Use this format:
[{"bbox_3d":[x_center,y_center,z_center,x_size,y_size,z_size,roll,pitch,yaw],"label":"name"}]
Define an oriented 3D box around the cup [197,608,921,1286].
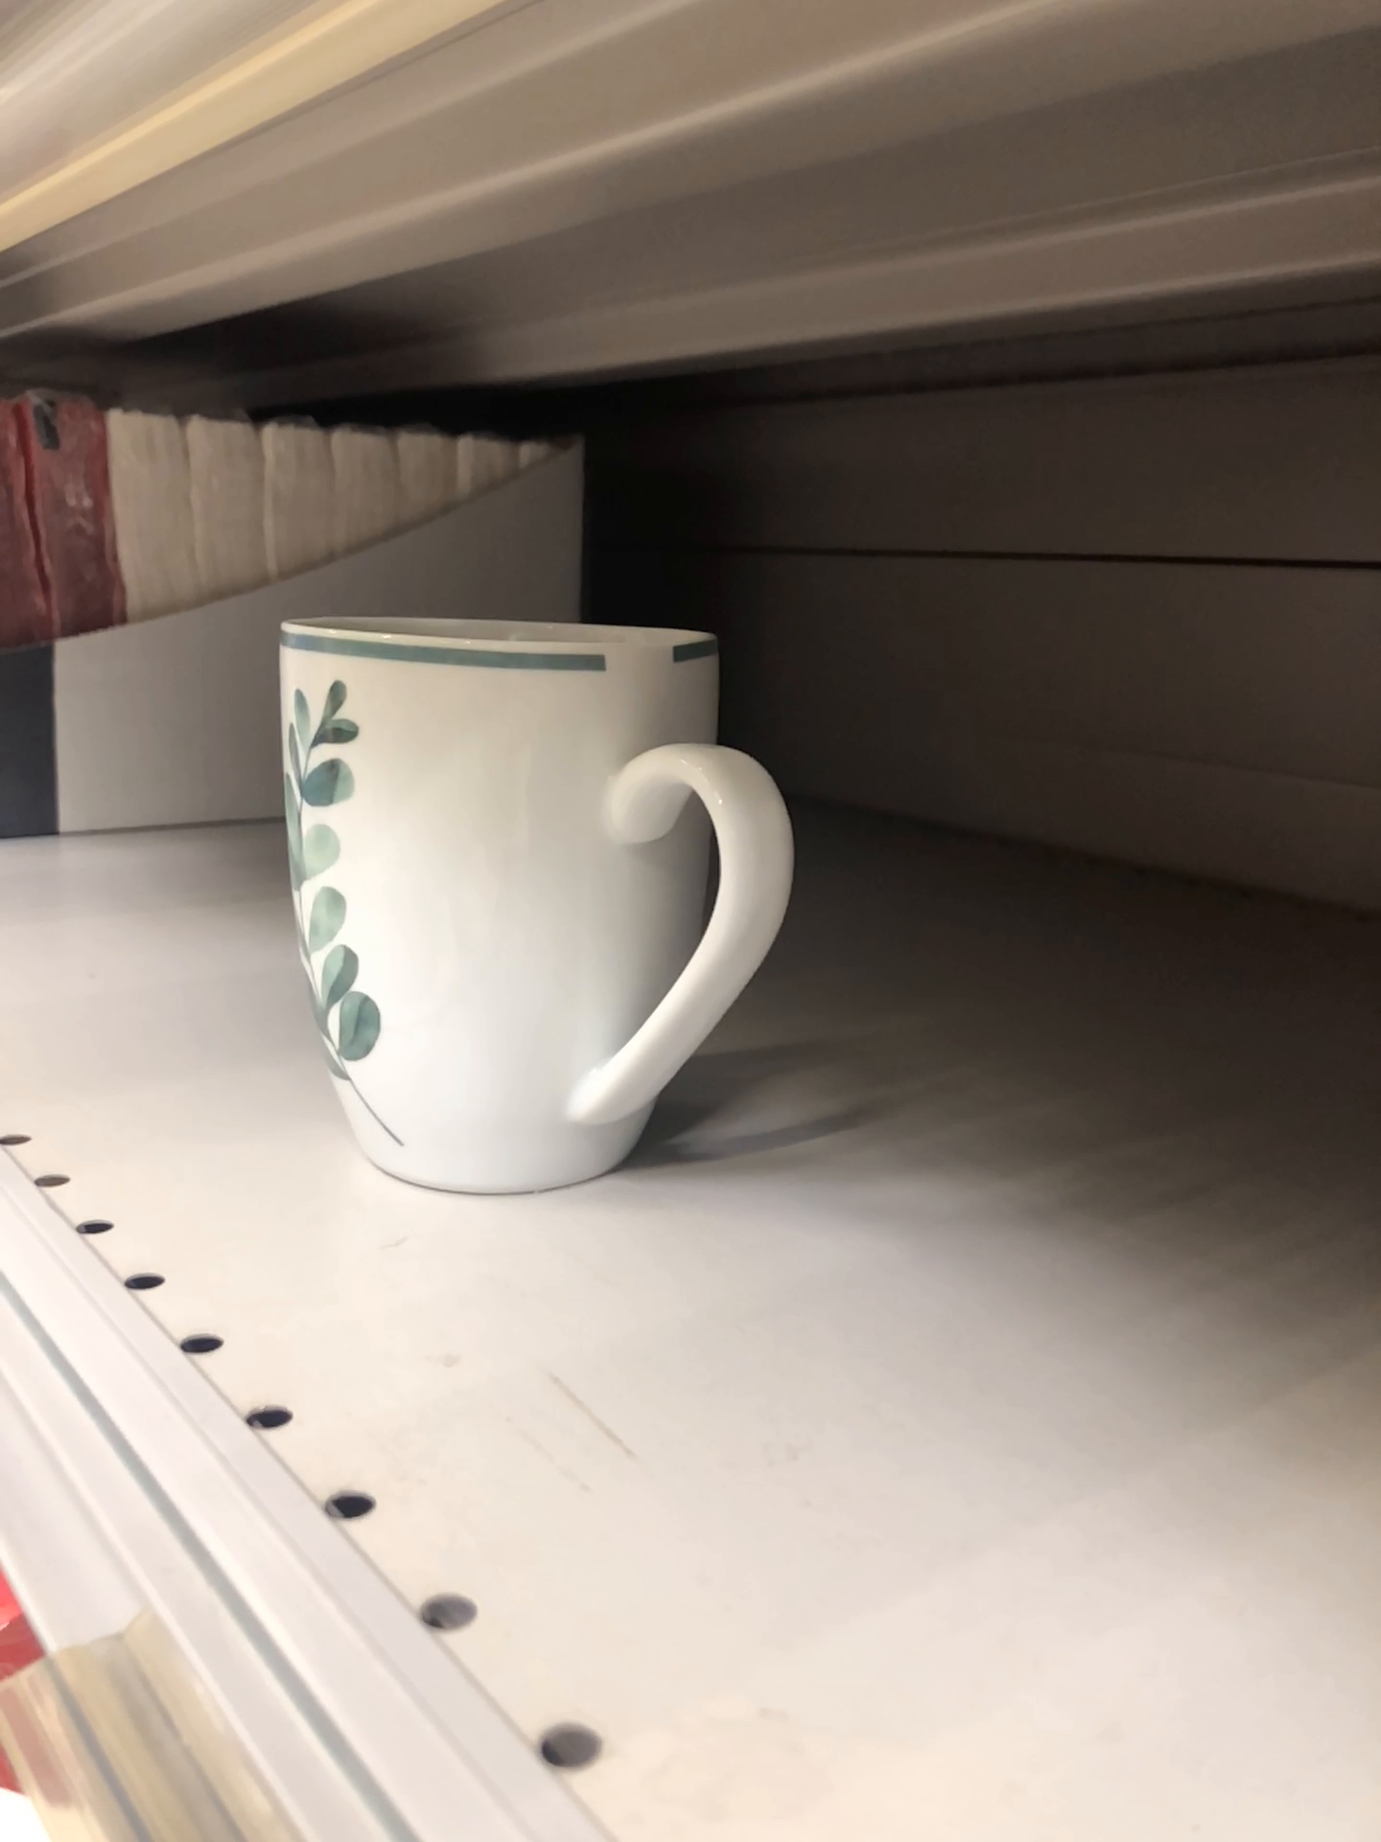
[{"bbox_3d":[-0.030,-0.008,0.285,0.082,0.093,0.116,-7,16,-35],"label":"cup"}]
